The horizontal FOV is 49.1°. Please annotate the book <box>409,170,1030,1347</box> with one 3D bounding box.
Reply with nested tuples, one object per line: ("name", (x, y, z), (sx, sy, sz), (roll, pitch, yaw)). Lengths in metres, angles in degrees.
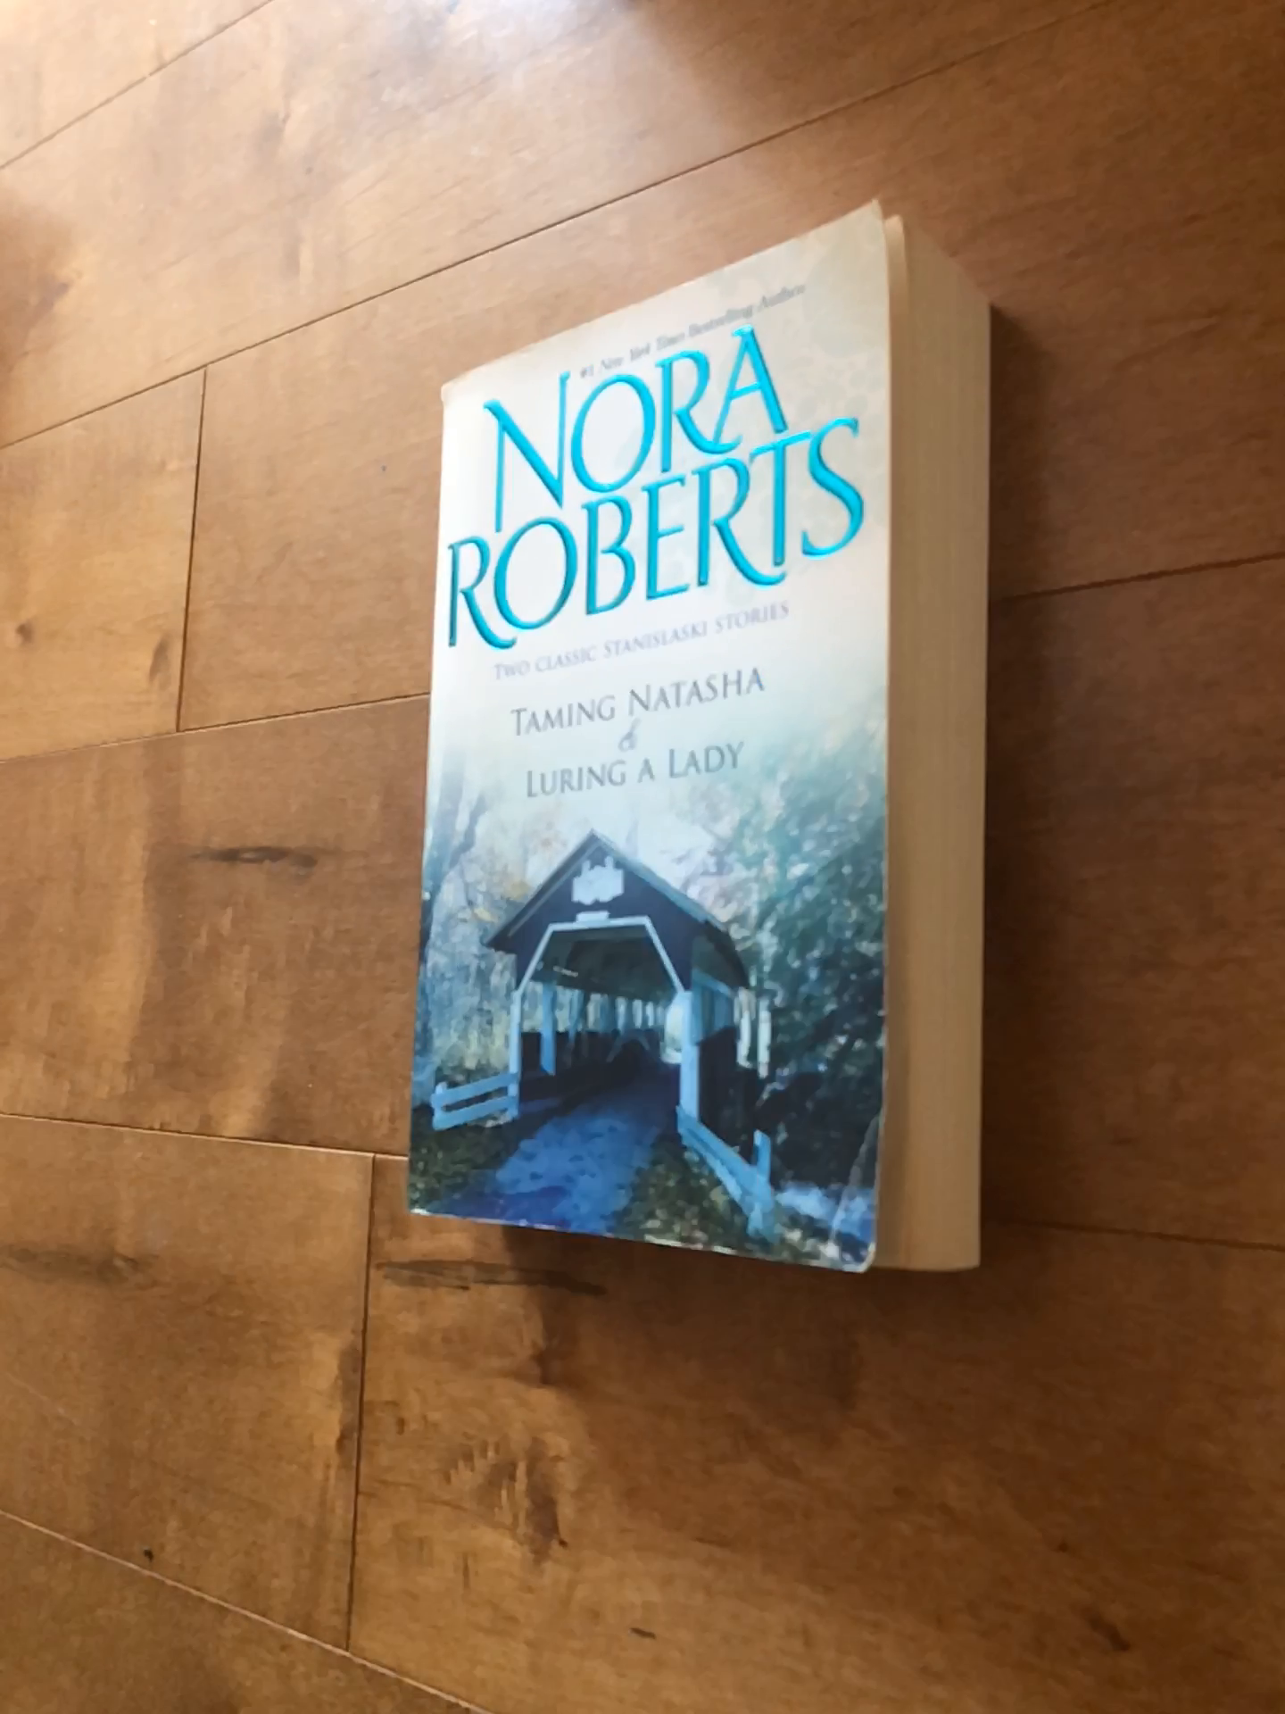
("book", (0.014, -0.018, 0.312), (0.131, 0.040, 0.220), (-5, 80, 36))
